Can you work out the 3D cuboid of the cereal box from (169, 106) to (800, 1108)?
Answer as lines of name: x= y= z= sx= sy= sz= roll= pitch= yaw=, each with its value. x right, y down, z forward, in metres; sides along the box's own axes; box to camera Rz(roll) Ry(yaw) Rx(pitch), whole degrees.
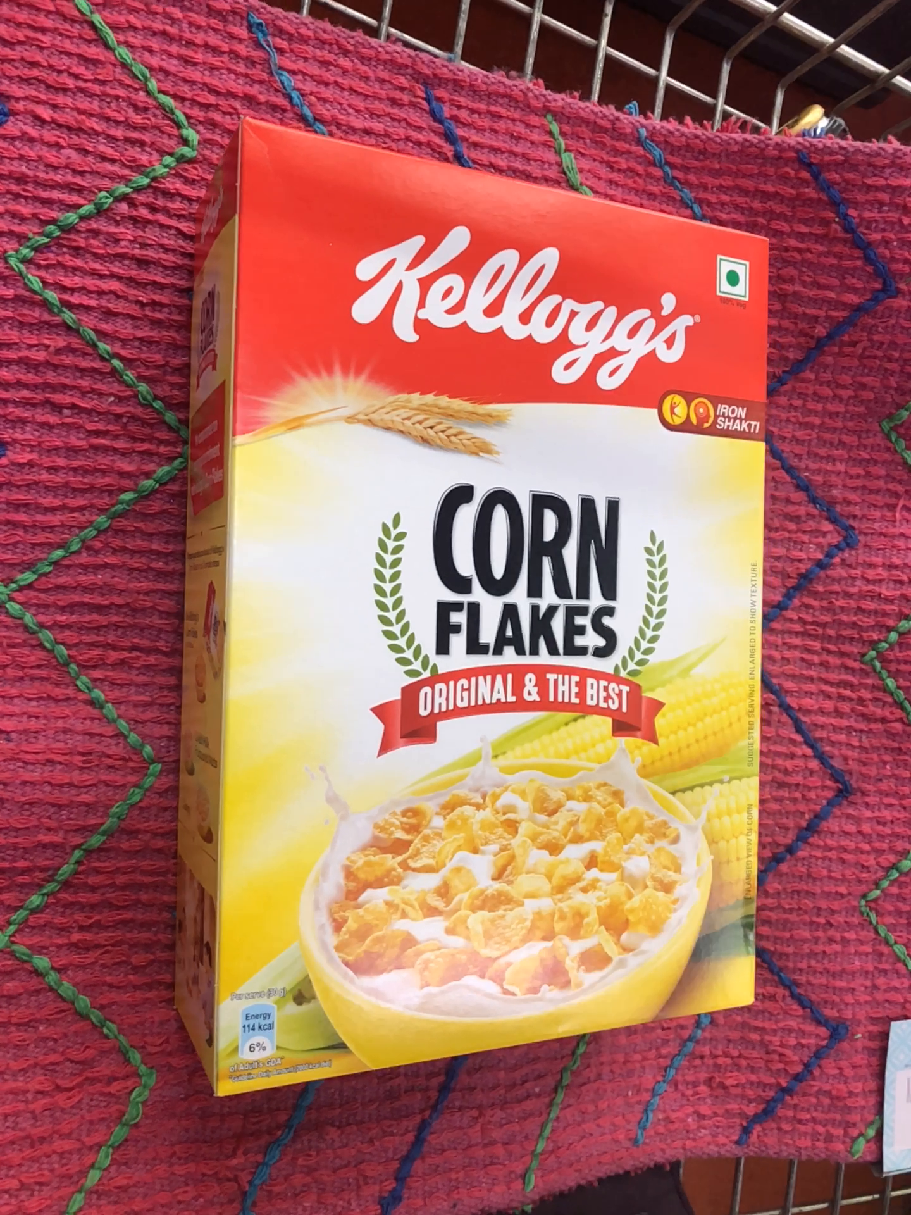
cereal box: x=0.011 y=0.001 z=0.333 sx=0.190 sy=0.070 sz=0.260 roll=1 pitch=90 yaw=-24
